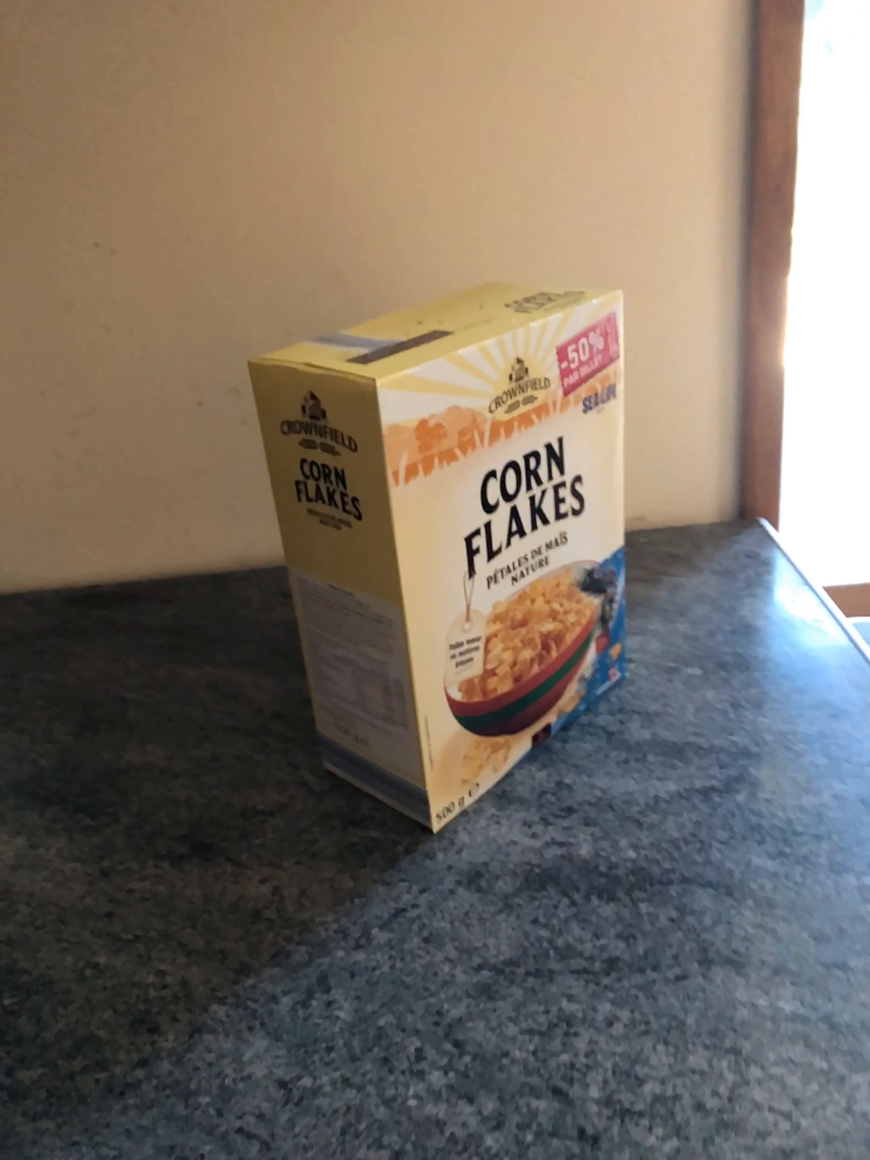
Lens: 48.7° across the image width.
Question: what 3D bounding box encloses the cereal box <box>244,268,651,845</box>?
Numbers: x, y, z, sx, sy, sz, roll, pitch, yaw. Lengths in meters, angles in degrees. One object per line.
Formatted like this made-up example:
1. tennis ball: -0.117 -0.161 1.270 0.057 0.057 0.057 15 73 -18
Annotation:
1. cereal box: 0.024 -0.025 0.549 0.100 0.259 0.201 19 35 40
